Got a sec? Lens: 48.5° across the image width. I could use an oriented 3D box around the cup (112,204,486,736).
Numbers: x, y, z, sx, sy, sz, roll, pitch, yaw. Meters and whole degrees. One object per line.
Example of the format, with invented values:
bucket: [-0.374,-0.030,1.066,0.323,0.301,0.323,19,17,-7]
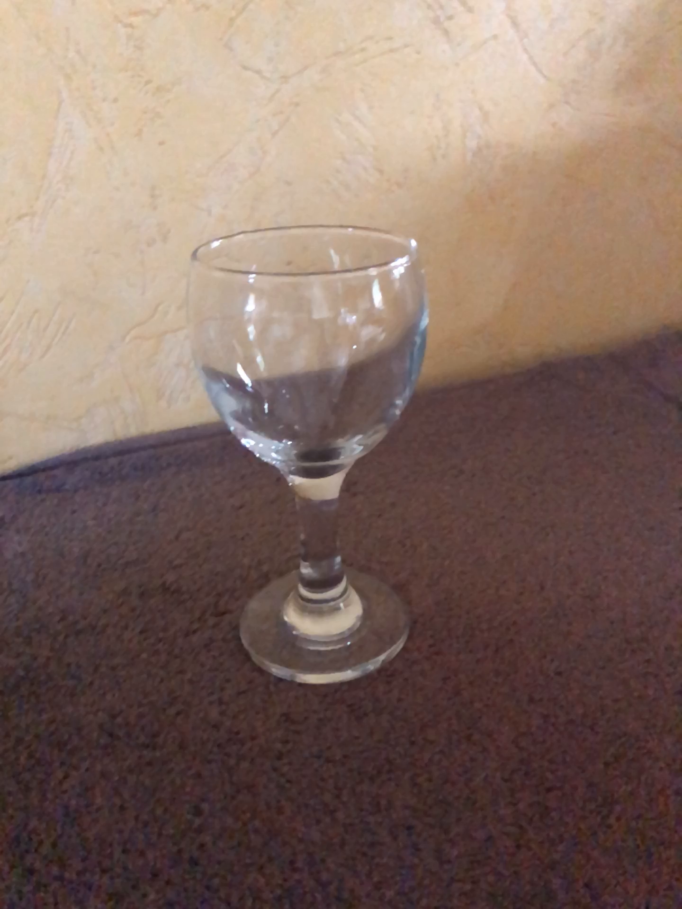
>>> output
cup: [-0.008,-0.001,0.229,0.070,0.129,0.070,-2,27,1]
